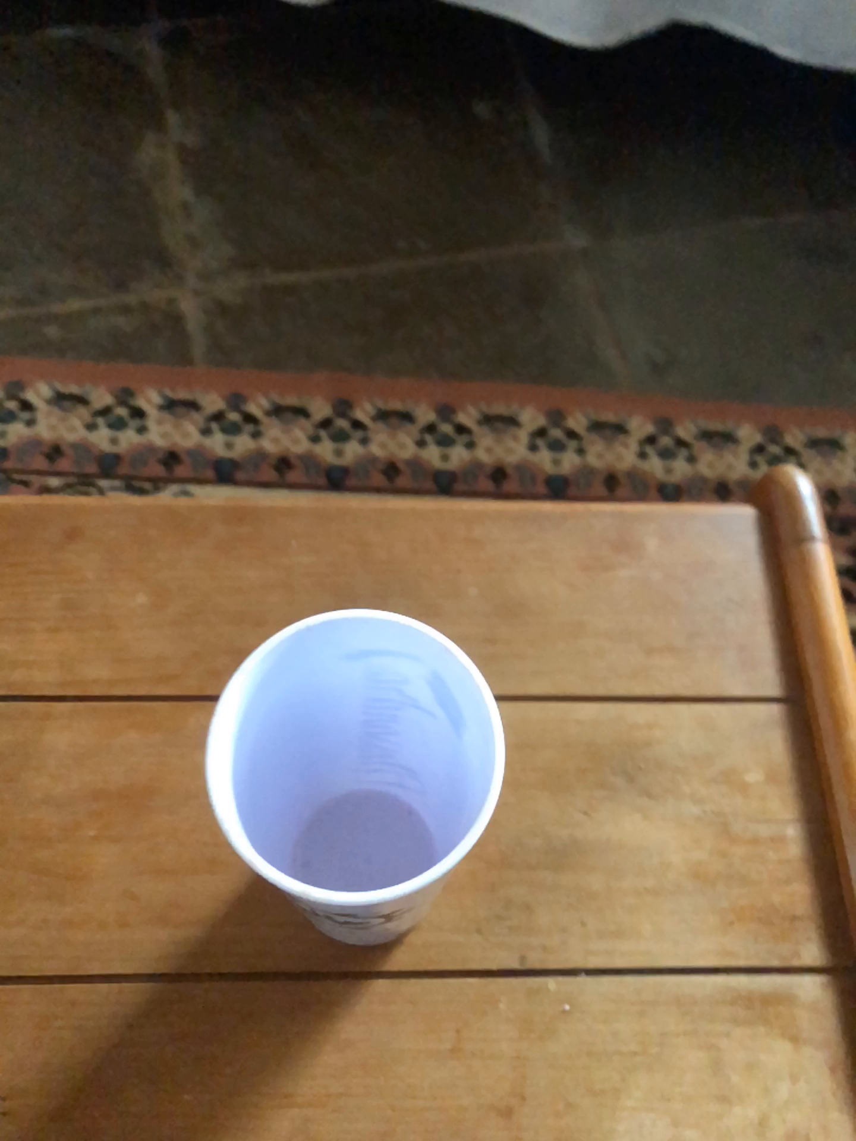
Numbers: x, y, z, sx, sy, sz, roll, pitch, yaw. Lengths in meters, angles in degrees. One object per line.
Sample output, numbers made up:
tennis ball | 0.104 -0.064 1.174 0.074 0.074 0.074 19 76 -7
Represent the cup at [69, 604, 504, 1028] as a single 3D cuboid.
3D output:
cup | -0.029 0.080 0.262 0.070 0.159 0.070 1 64 -3
